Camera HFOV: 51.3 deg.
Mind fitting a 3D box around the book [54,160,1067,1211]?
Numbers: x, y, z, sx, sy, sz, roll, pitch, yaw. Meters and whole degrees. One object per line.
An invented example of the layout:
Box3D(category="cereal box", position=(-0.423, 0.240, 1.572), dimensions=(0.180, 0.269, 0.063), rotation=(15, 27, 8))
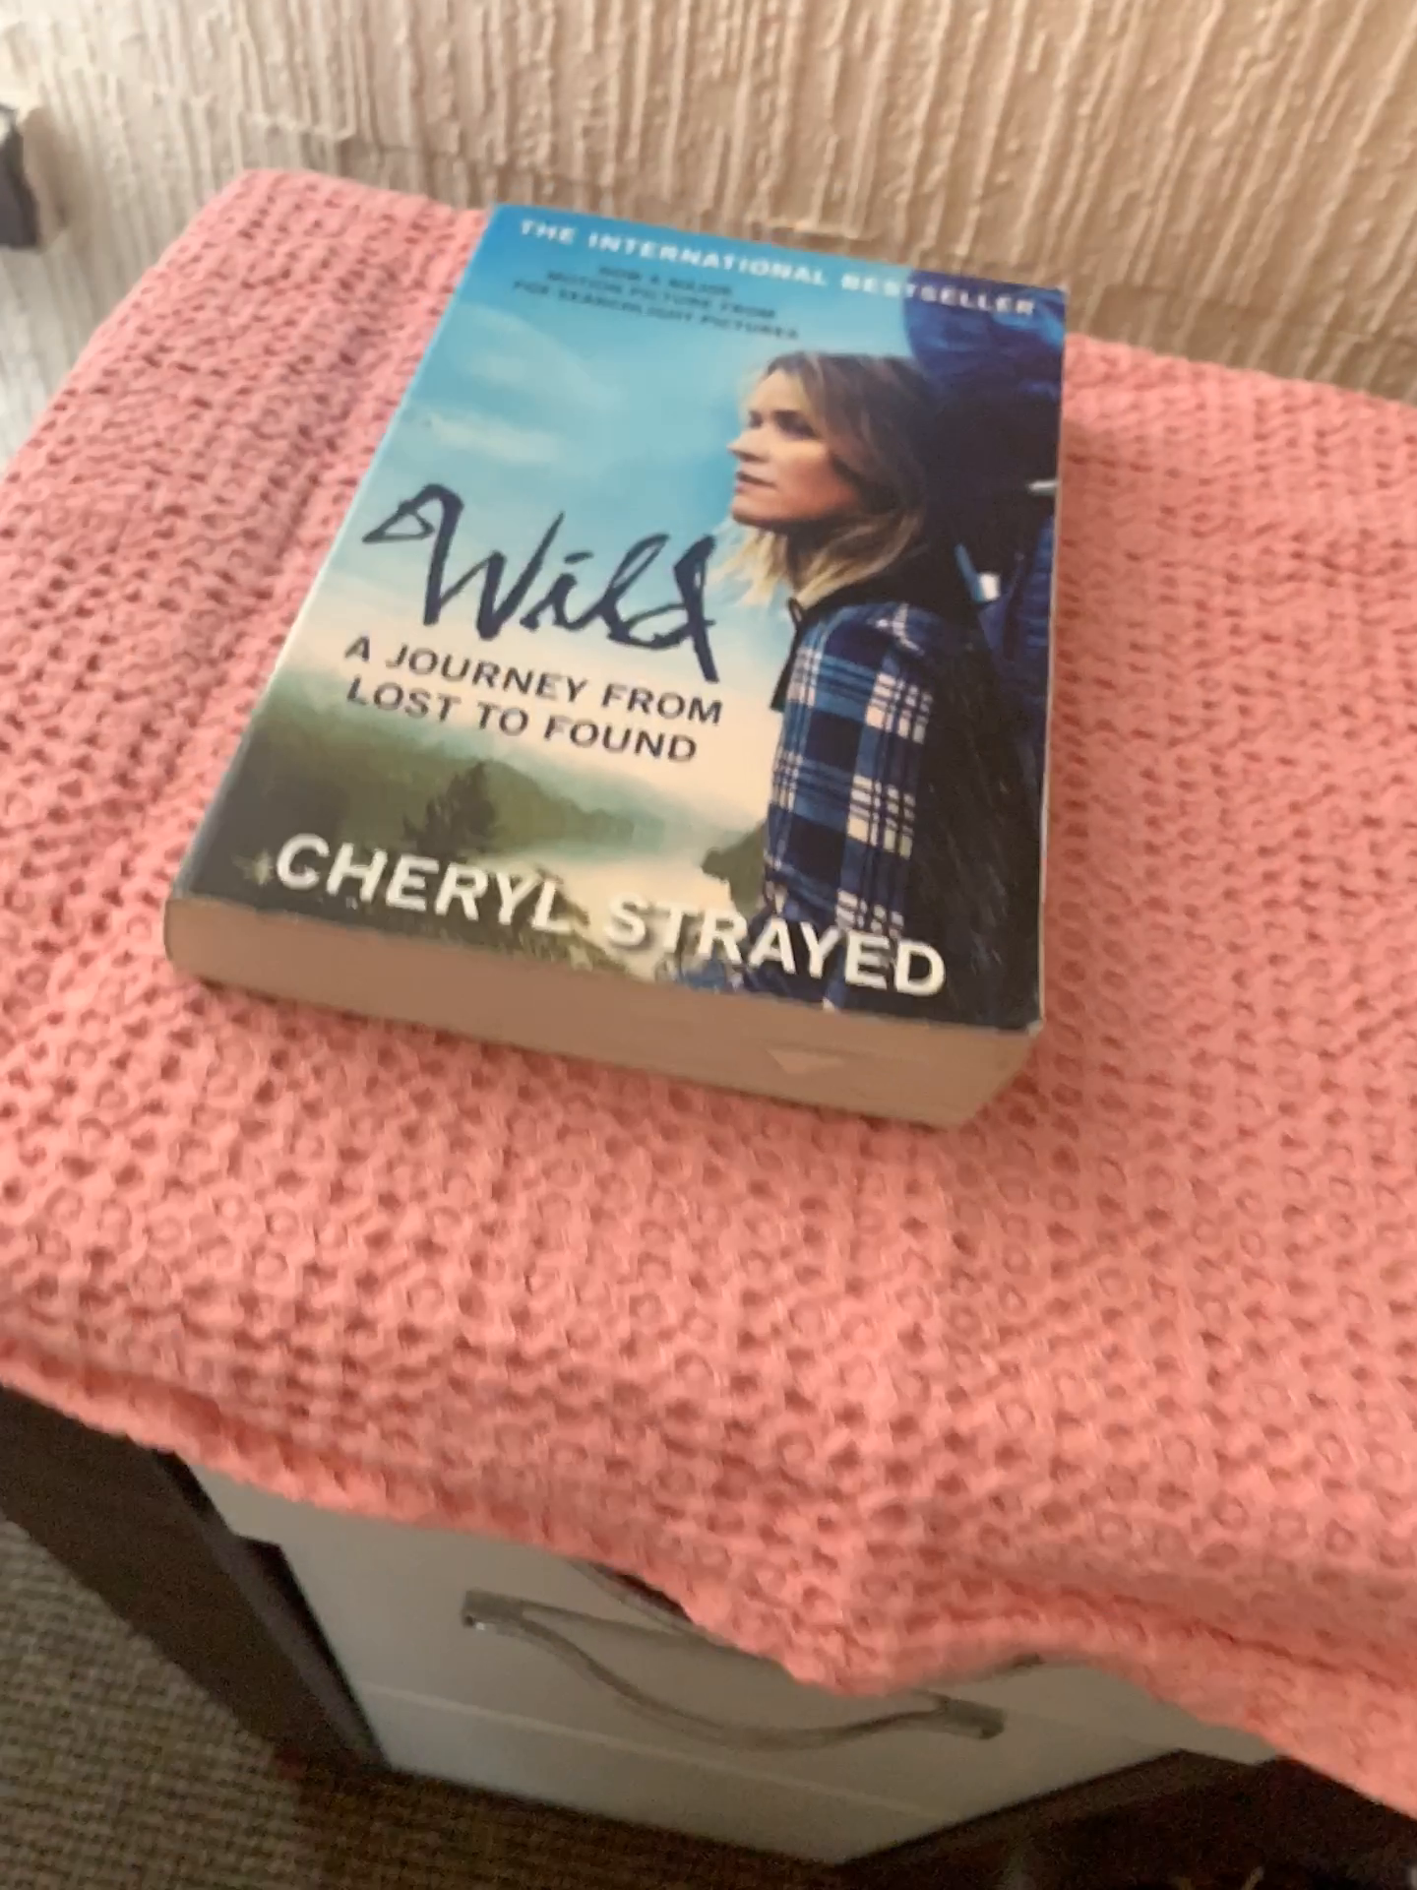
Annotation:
Box3D(category="book", position=(-0.007, -0.065, 0.274), dimensions=(0.140, 0.030, 0.212), rotation=(10, 55, -1))
